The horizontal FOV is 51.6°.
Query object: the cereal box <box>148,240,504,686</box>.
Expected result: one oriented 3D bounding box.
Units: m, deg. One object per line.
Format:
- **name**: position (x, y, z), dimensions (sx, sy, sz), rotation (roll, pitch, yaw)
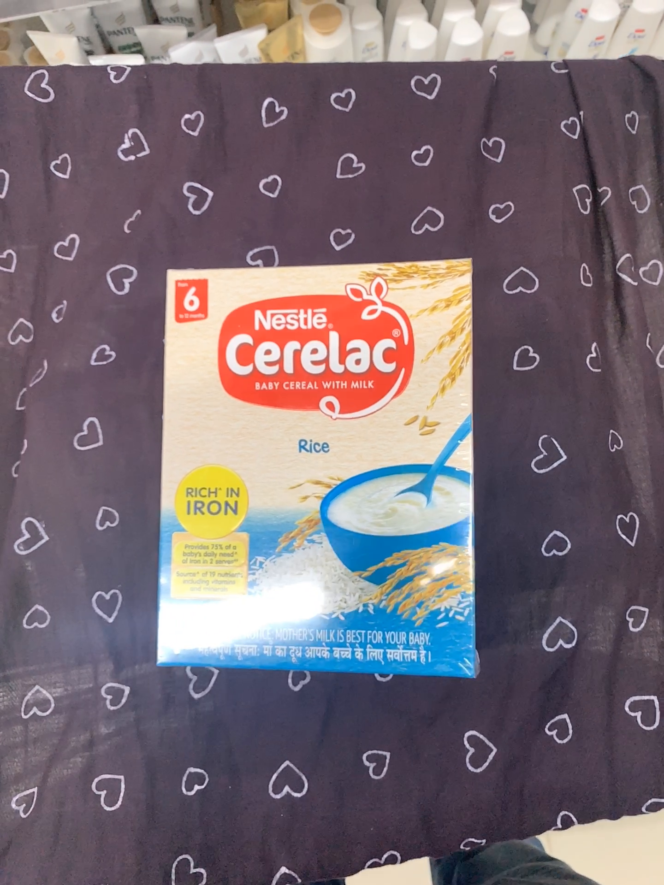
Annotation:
- **cereal box**: position (-0.003, 0.009, 0.336), dimensions (0.160, 0.040, 0.200), rotation (-1, 84, 7)
